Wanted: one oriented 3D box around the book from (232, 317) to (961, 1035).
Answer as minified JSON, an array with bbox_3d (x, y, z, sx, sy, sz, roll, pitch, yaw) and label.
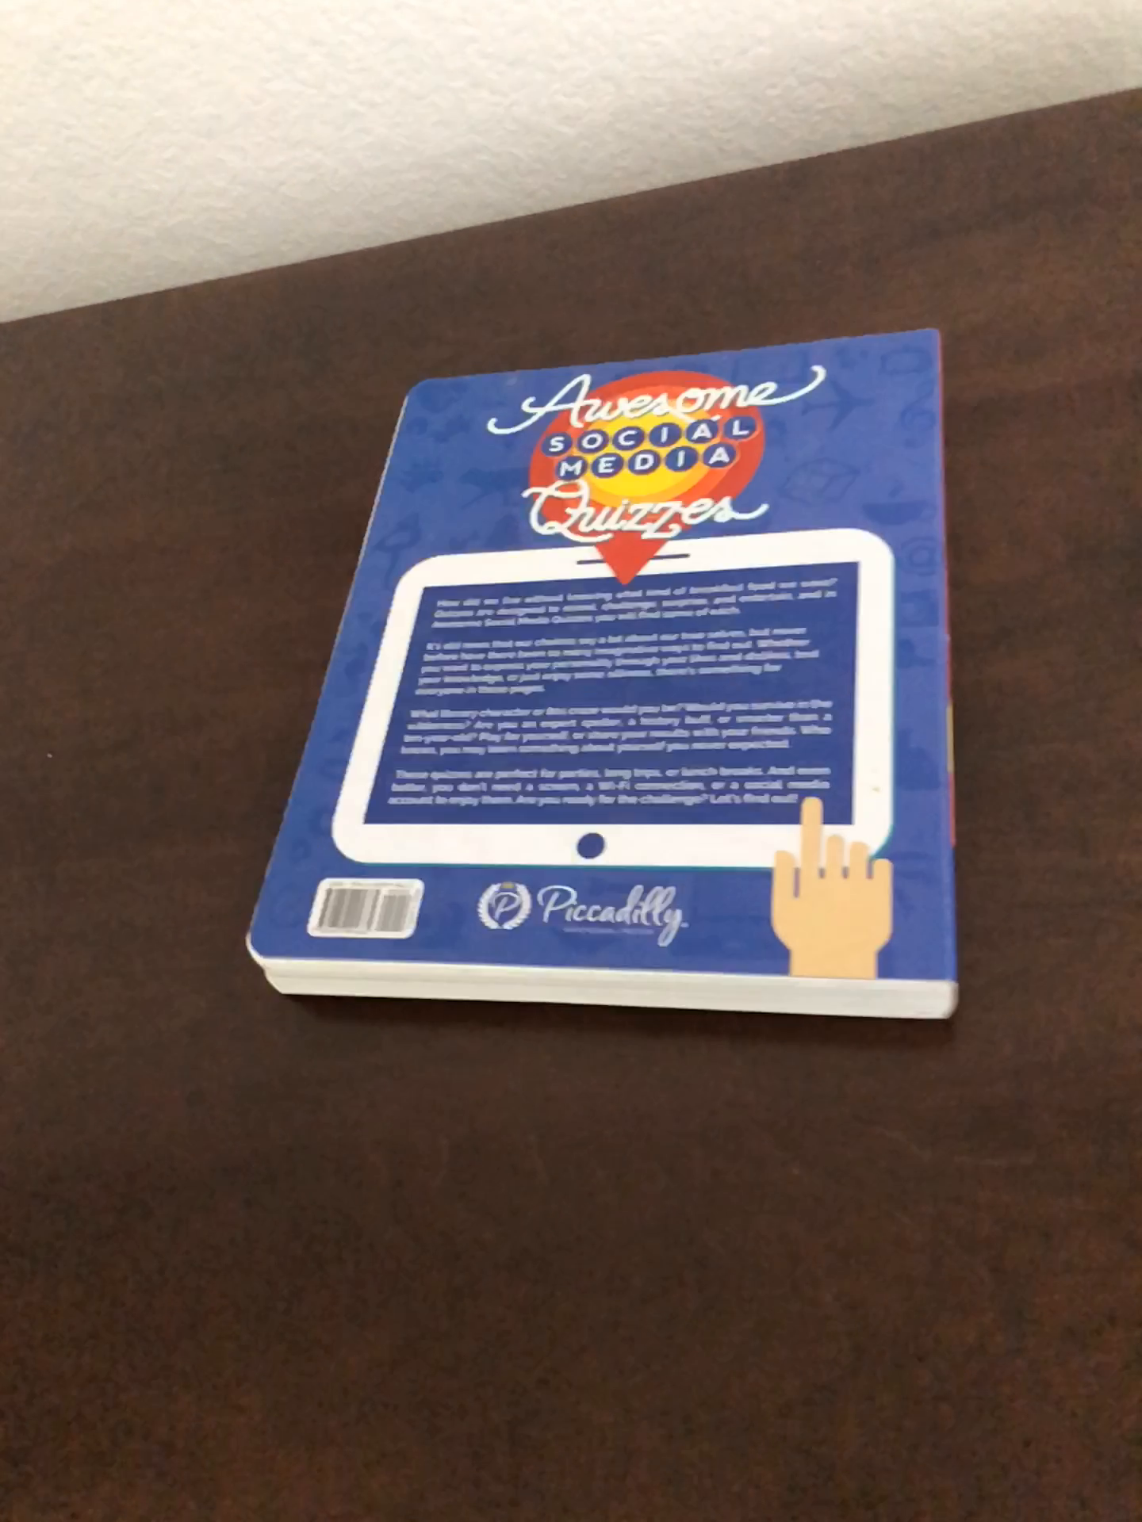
[{"bbox_3d":[0.016,-0.032,0.343,0.166,0.030,0.201,0,58,15],"label":"book"}]
